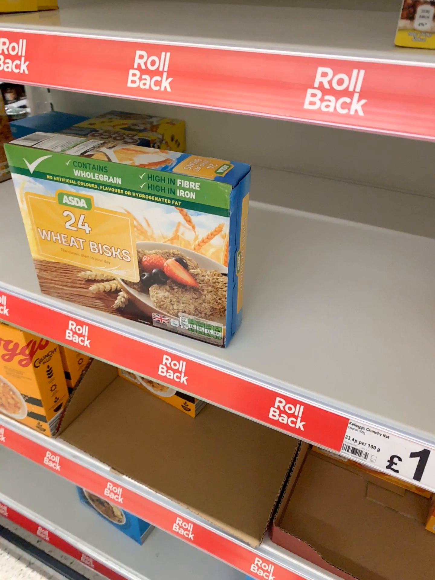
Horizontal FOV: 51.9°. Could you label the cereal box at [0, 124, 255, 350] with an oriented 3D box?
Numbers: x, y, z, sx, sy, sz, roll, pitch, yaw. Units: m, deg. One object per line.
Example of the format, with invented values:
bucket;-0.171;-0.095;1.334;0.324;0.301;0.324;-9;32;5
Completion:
cereal box;-0.103;-0.059;0.468;0.270;0.178;0.060;14;38;18
